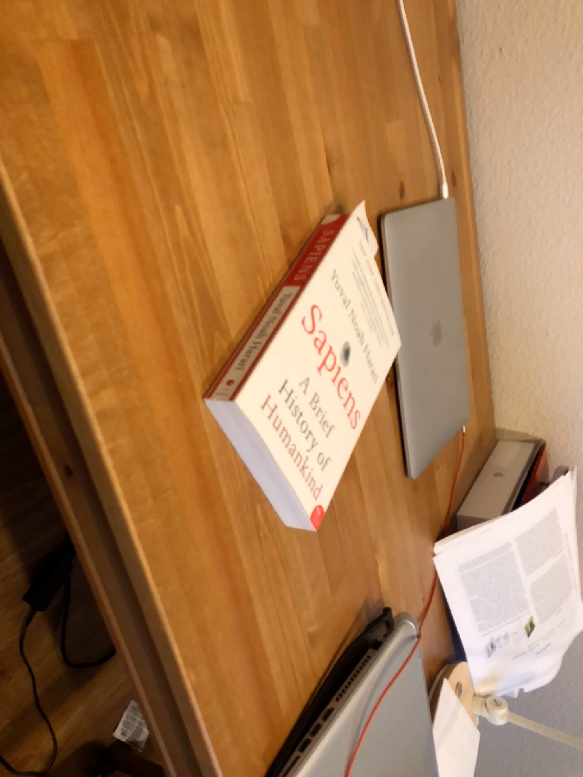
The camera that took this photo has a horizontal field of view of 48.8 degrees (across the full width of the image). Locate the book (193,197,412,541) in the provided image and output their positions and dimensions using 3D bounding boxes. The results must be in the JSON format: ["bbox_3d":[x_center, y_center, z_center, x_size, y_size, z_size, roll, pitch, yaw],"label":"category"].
[{"bbox_3d":[0.029,-0.023,0.562,0.250,0.040,0.171,-61,138,-36],"label":"book"}]
